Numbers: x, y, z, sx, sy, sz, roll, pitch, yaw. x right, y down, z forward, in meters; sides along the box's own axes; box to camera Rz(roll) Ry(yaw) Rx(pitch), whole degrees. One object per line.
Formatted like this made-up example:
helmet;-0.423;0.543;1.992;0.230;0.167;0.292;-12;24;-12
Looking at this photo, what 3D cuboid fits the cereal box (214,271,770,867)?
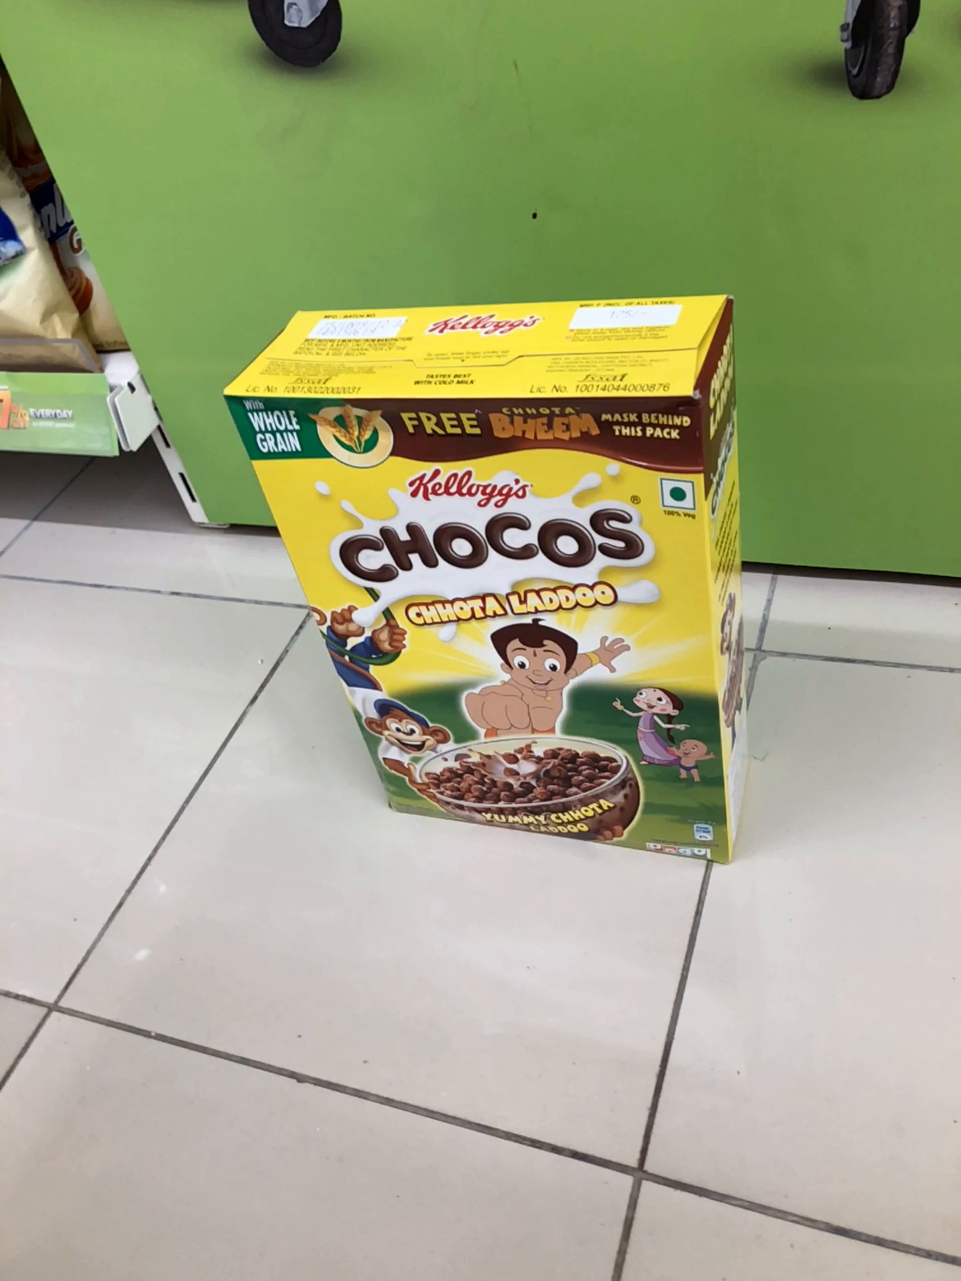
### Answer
cereal box;0.025;-0.020;0.468;0.190;0.258;0.070;5;45;21
